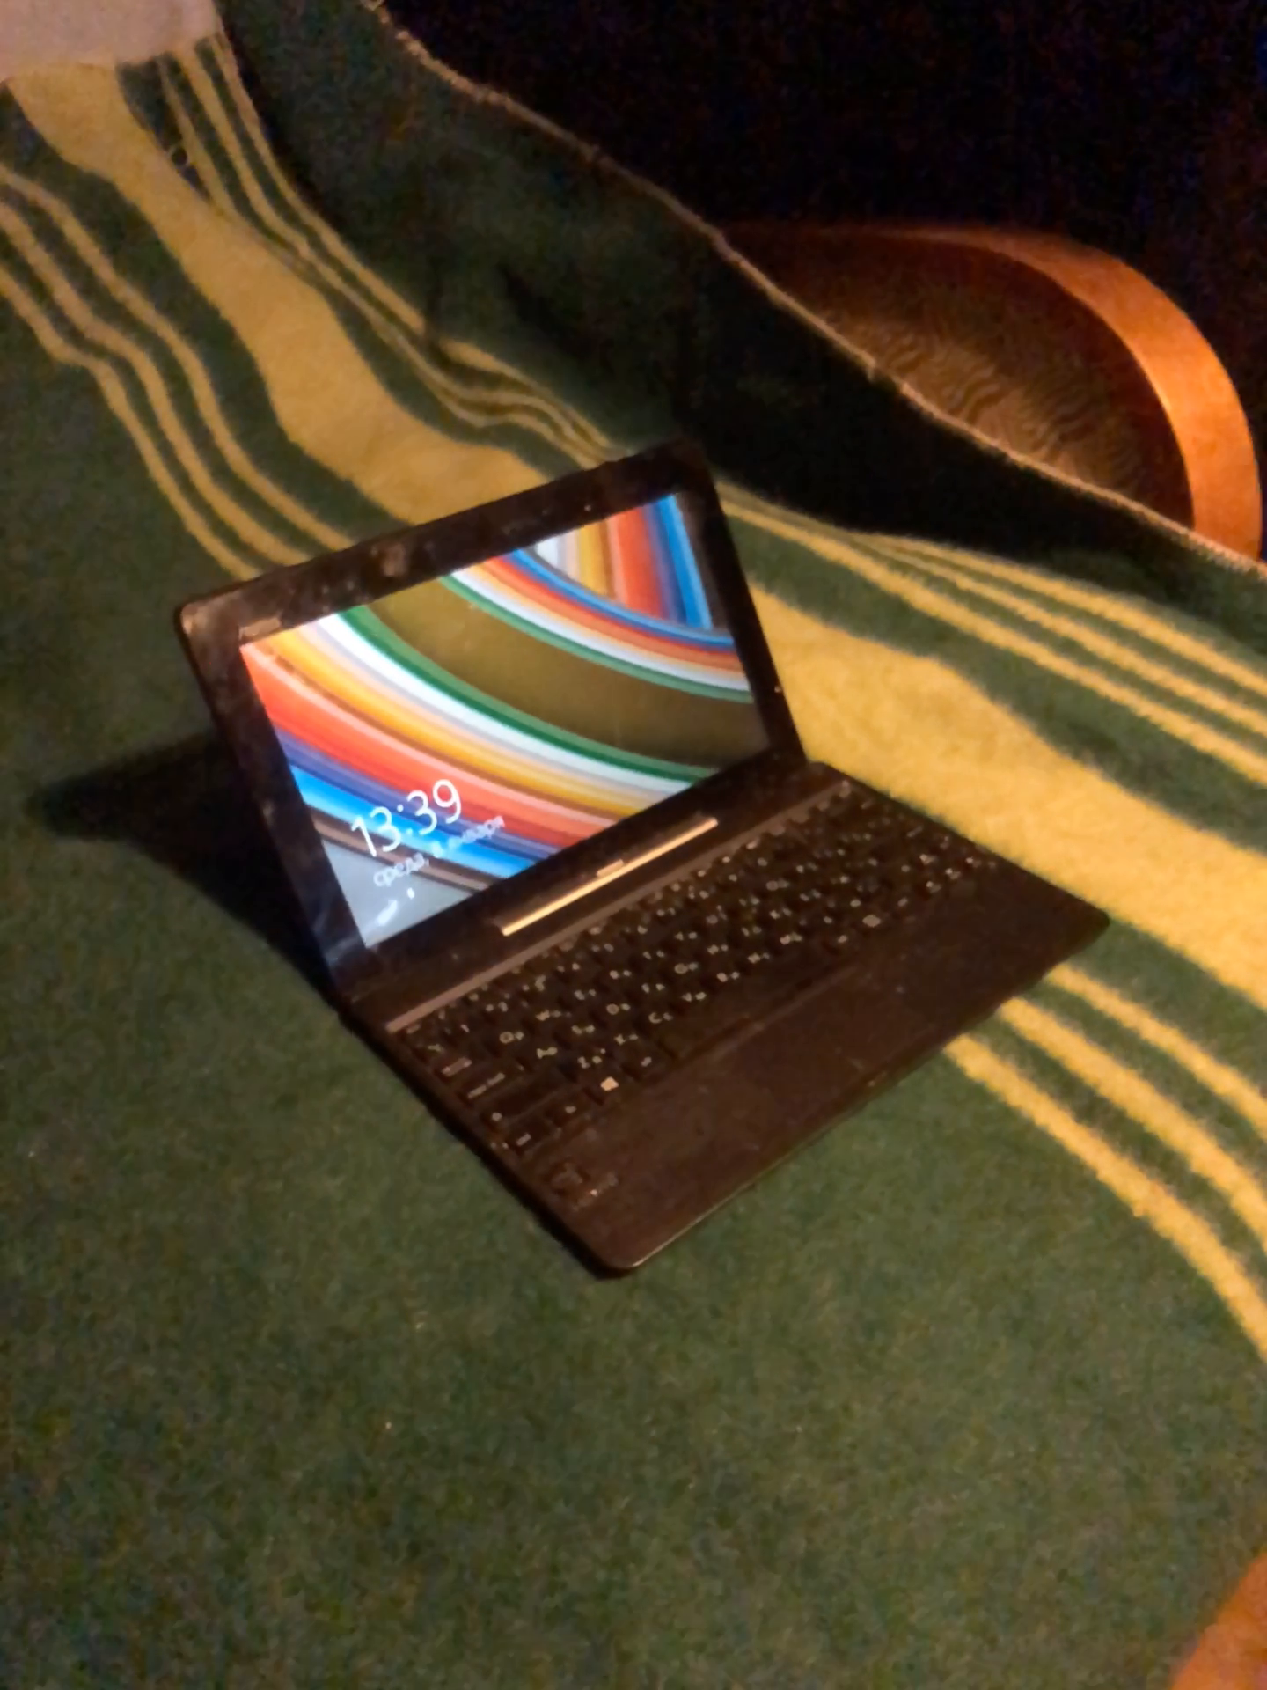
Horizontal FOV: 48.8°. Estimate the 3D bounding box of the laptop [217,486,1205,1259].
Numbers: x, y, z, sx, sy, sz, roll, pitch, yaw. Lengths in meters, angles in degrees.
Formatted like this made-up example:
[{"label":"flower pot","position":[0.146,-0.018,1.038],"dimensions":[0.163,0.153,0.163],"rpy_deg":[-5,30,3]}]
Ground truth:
[{"label":"laptop","position":[0.018,-0.019,0.553],"dimensions":[0.257,0.116,0.257],"rpy_deg":[-27,45,-31]}]
